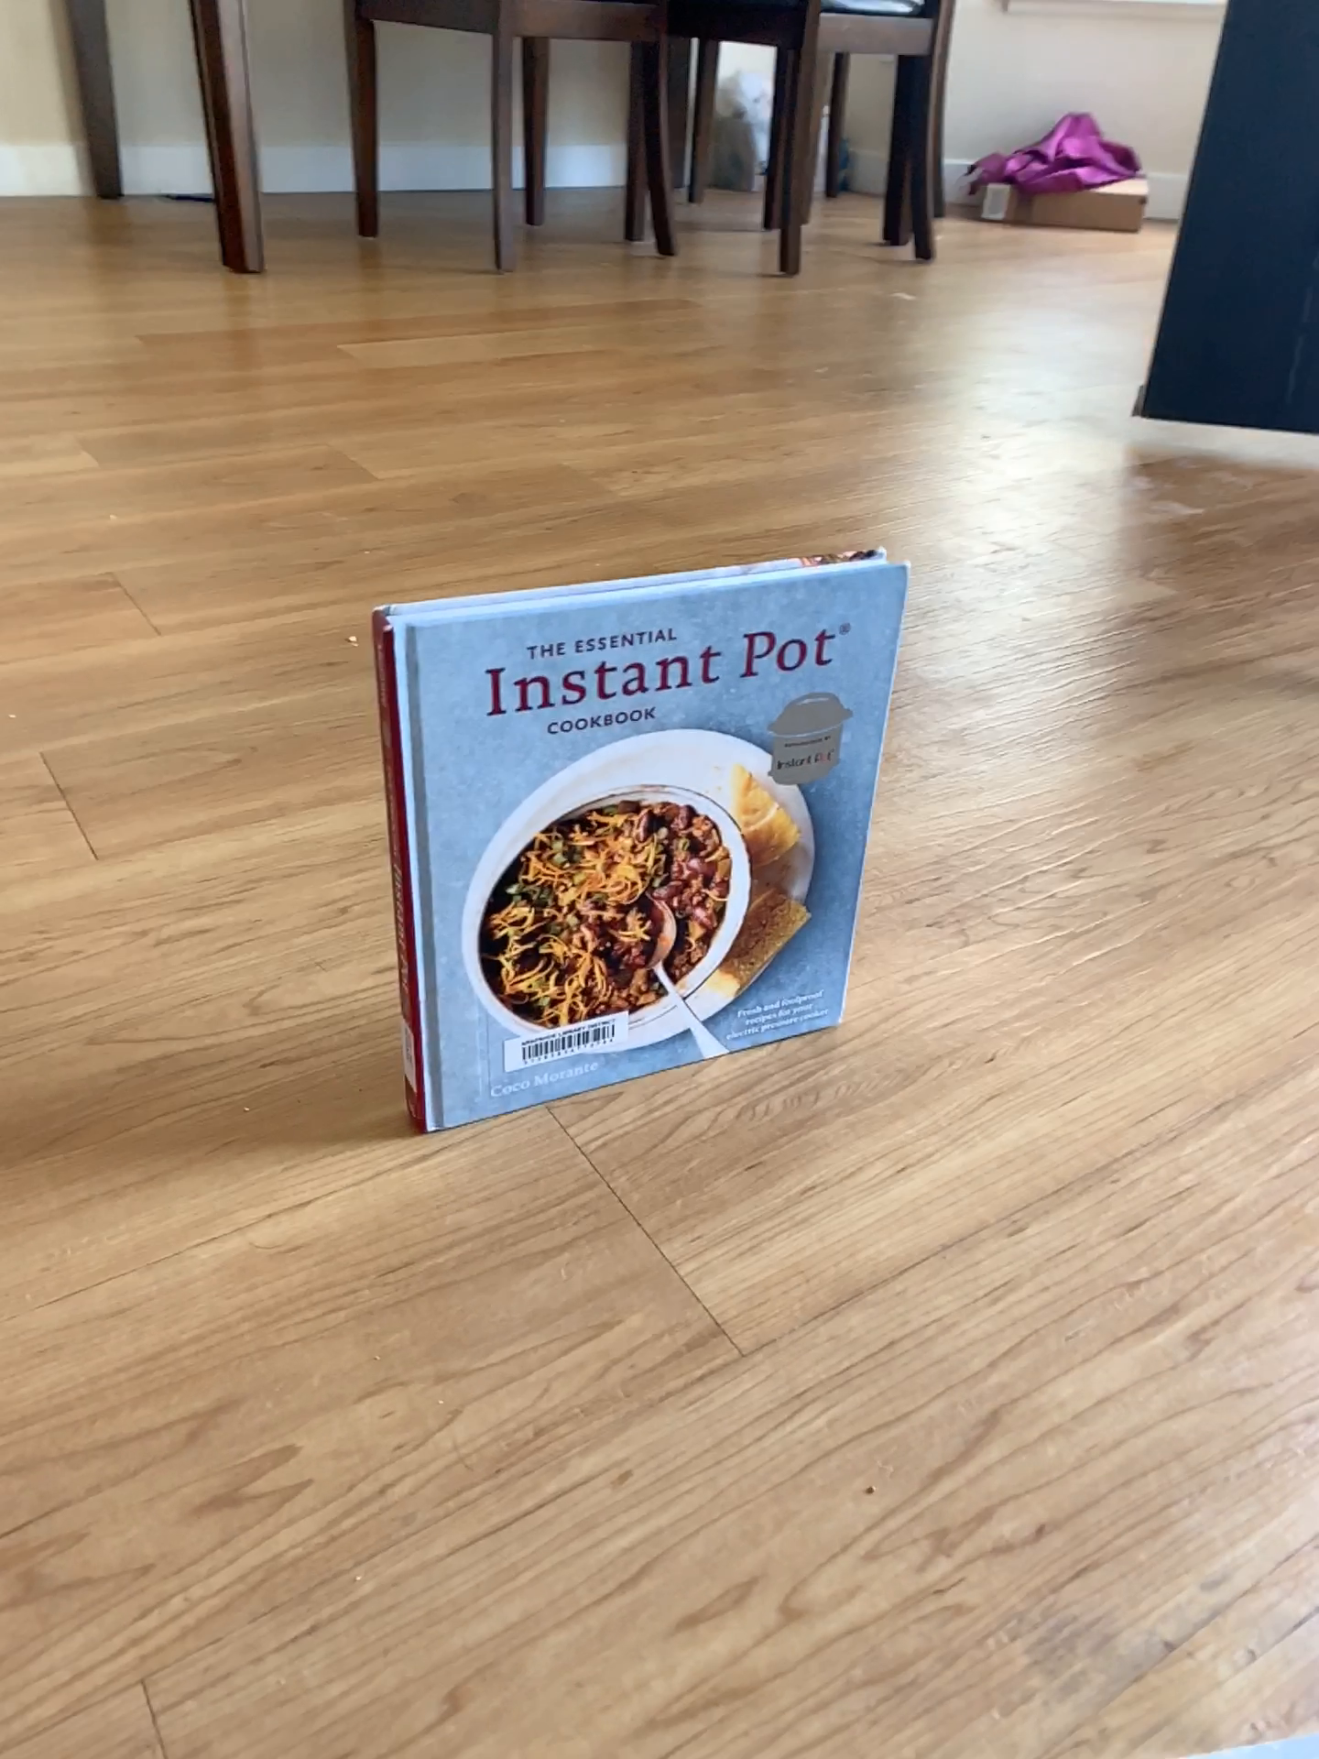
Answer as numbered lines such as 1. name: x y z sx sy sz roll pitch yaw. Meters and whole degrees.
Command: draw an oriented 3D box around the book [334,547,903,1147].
1. book: -0.013 -0.013 0.590 0.230 0.239 0.030 -12 33 -22
